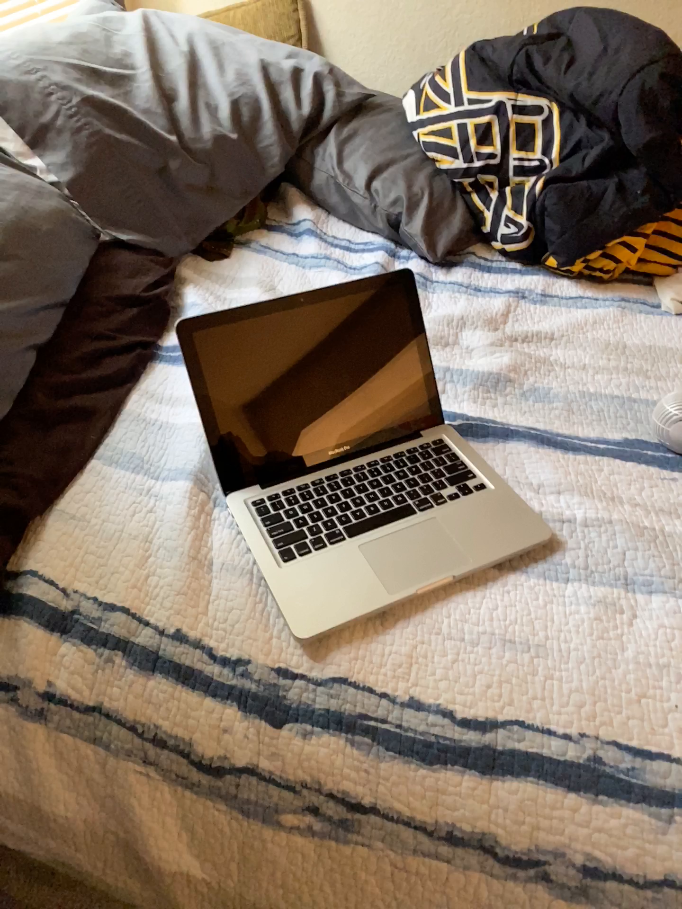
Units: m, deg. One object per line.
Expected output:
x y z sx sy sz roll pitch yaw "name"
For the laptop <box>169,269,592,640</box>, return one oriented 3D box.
0.024 -0.030 0.795 0.320 0.165 0.347 -18 46 -21 "laptop"
